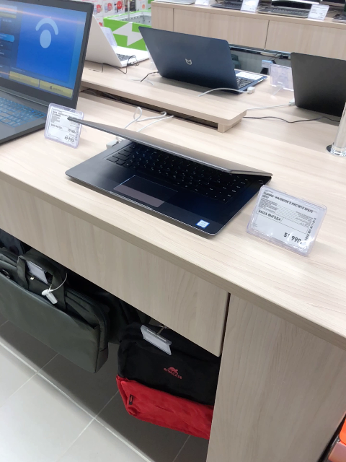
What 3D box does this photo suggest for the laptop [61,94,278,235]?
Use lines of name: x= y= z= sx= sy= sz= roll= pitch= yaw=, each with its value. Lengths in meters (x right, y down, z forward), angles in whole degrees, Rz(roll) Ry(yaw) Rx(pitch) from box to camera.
laptop: x=-0.010 y=-0.152 z=0.746 sx=0.345 sy=0.099 sz=0.222 roll=24 pitch=44 yaw=27

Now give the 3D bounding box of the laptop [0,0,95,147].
laptop: x=-0.467 y=-0.445 z=0.983 sx=0.348 sy=0.230 sz=0.378 roll=24 pitch=43 yaw=25
